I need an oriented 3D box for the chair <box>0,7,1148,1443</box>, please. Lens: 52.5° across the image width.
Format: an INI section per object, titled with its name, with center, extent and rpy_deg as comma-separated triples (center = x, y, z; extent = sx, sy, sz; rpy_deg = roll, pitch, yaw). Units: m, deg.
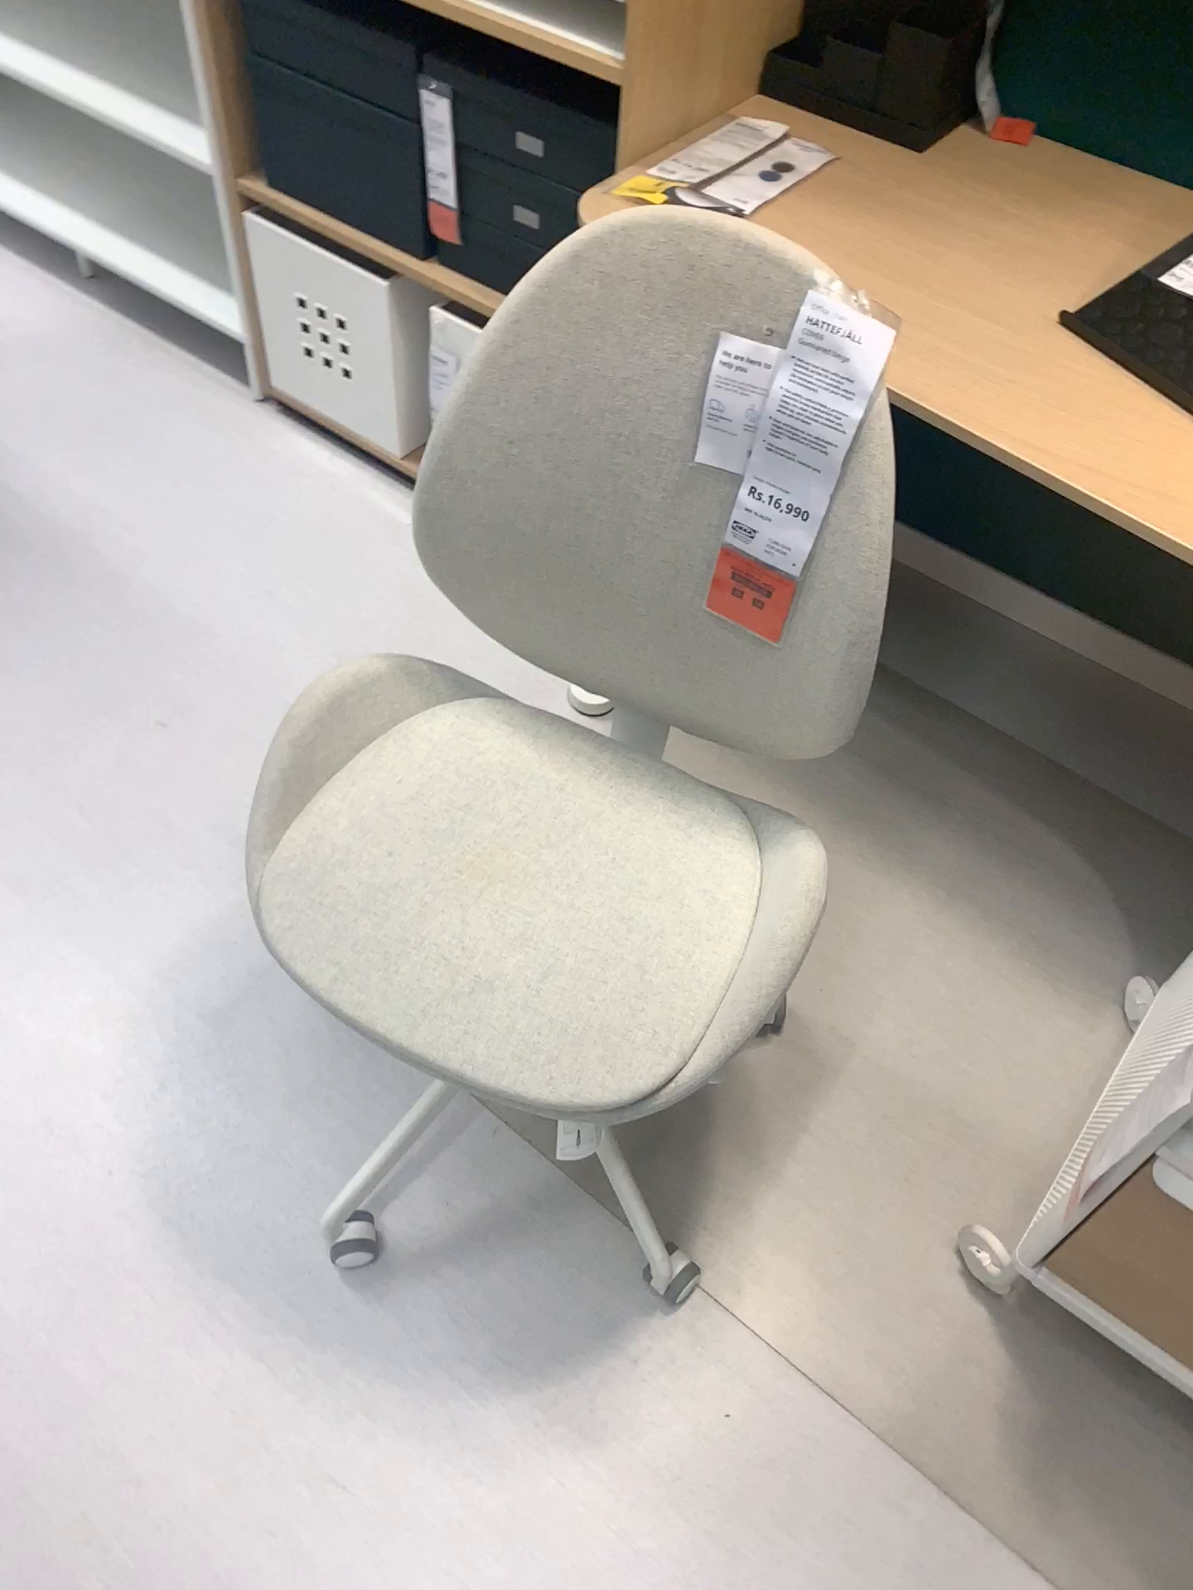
[chair]
center = -0.080, 0.007, 1.112
extent = 0.631, 0.997, 0.642
rpy_deg = 24, 53, 15
